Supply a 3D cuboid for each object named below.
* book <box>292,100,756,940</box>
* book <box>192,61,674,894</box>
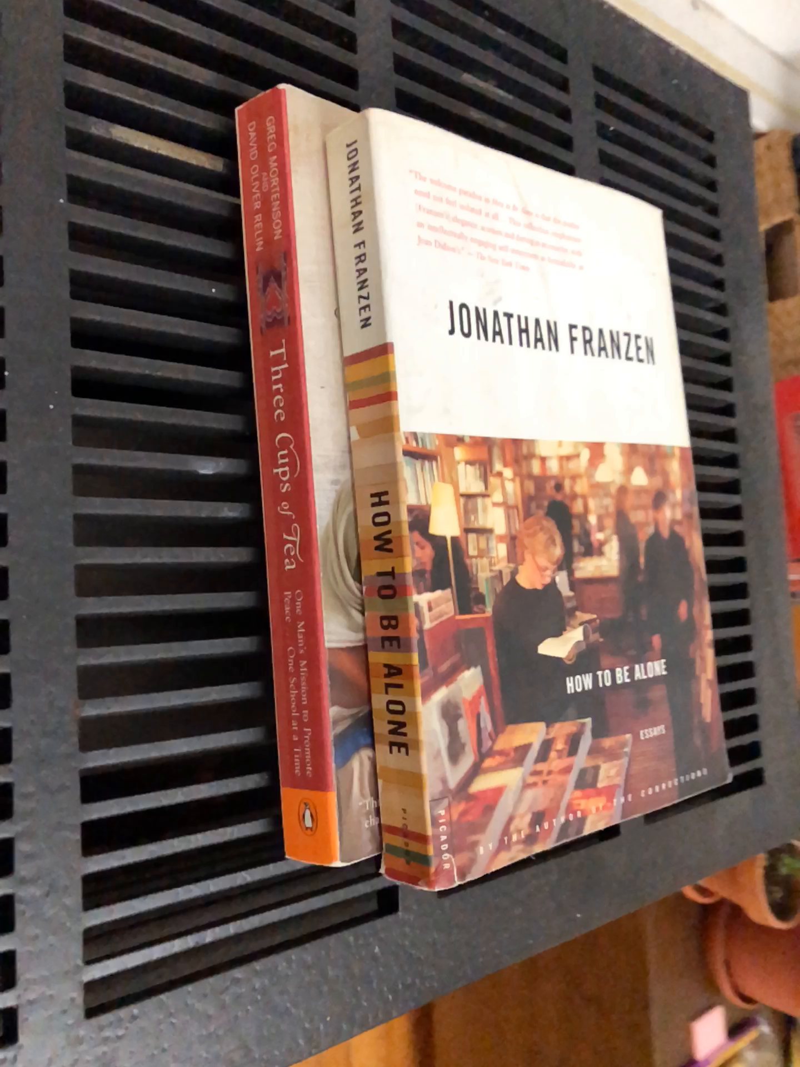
[{"bbox_3d":[0.048,-0.008,0.281,0.151,0.030,0.210,-4,86,-41],"label":"book"},{"bbox_3d":[0.019,-0.019,0.283,0.151,0.030,0.210,-4,86,-41],"label":"book"}]
